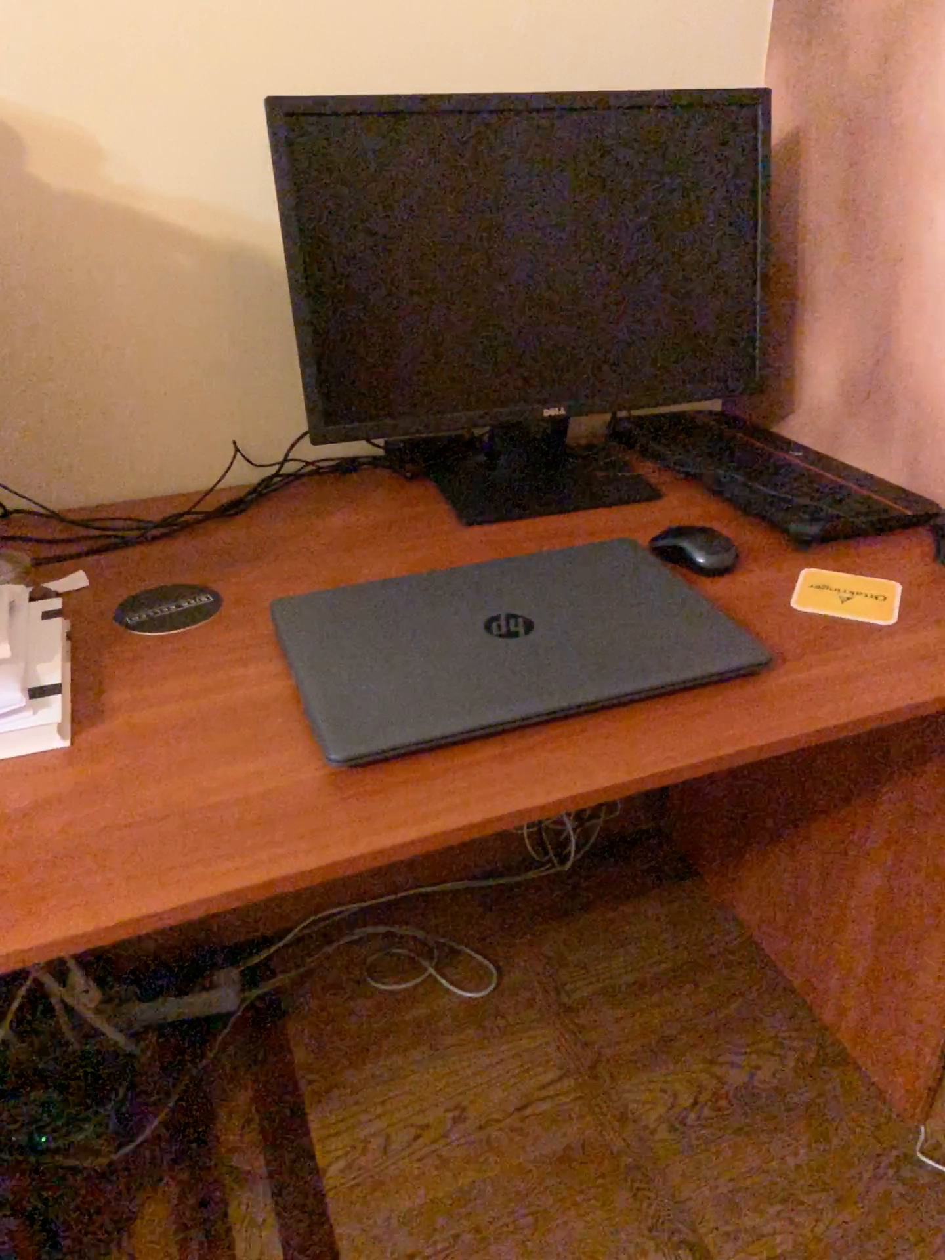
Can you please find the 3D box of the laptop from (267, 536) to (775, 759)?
[{"bbox_3d":[0.029,-0.002,0.831,0.369,0.005,0.248,-11,32,-17],"label":"laptop"}]
